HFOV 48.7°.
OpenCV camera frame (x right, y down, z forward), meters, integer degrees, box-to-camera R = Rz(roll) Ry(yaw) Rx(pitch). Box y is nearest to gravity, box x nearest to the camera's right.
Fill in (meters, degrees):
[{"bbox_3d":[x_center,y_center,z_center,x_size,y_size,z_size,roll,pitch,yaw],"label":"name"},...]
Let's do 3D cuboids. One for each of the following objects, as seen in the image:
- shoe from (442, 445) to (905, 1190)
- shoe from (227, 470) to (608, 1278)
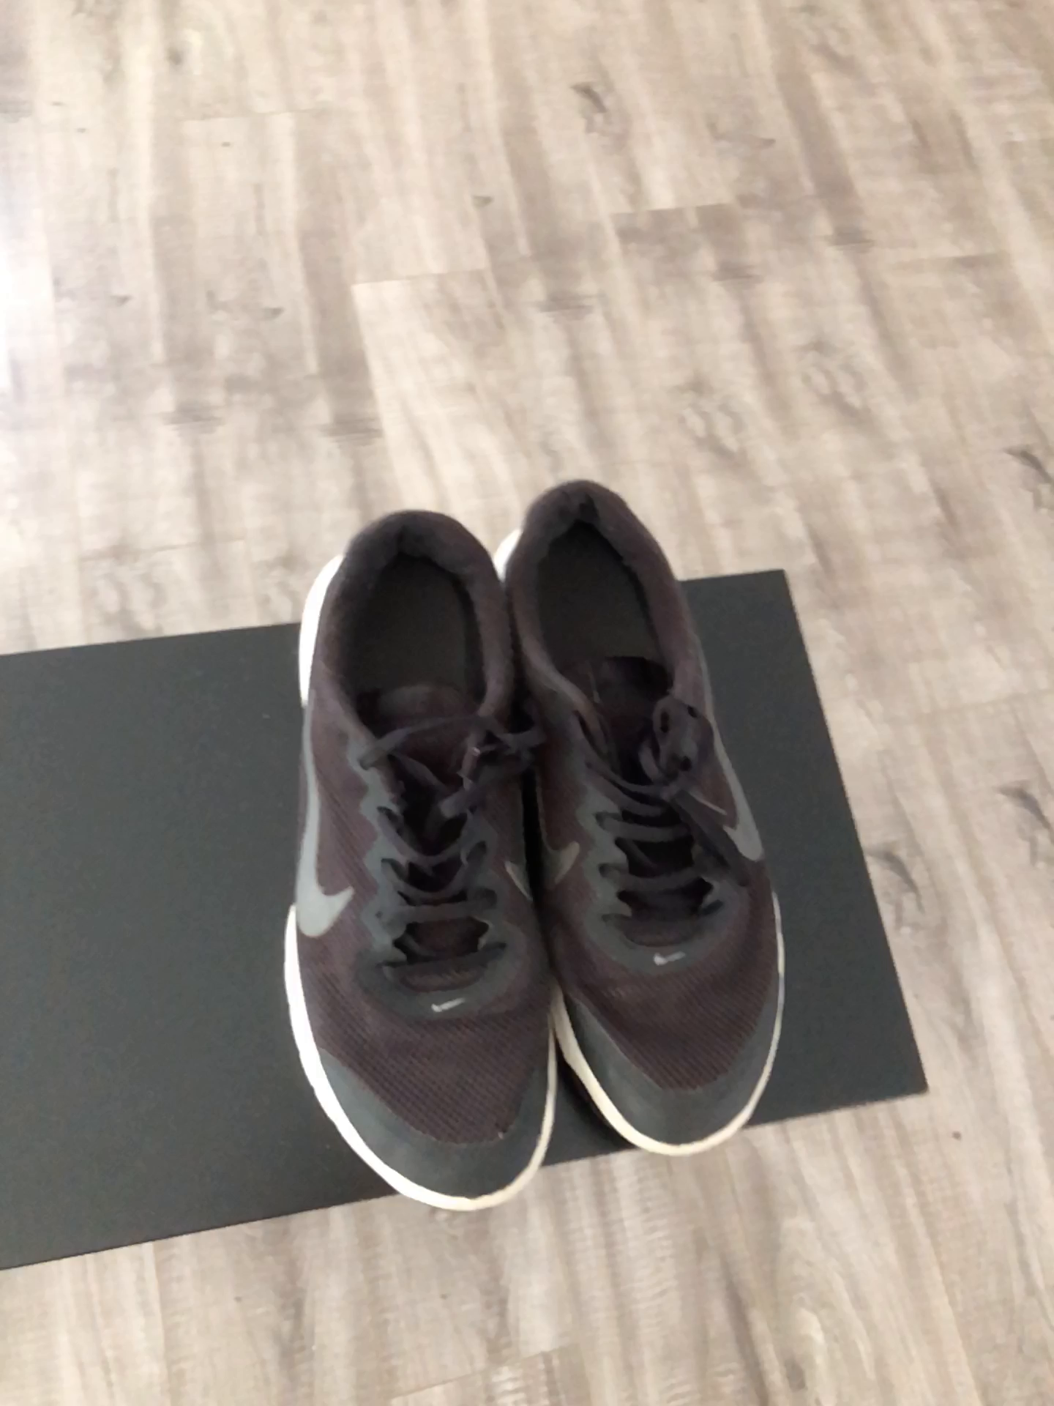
[{"bbox_3d":[0.046,0.046,0.500,0.110,0.110,0.280,-9,71,-10],"label":"shoe"},{"bbox_3d":[-0.051,0.059,0.463,0.110,0.100,0.280,-4,72,-9],"label":"shoe"}]
